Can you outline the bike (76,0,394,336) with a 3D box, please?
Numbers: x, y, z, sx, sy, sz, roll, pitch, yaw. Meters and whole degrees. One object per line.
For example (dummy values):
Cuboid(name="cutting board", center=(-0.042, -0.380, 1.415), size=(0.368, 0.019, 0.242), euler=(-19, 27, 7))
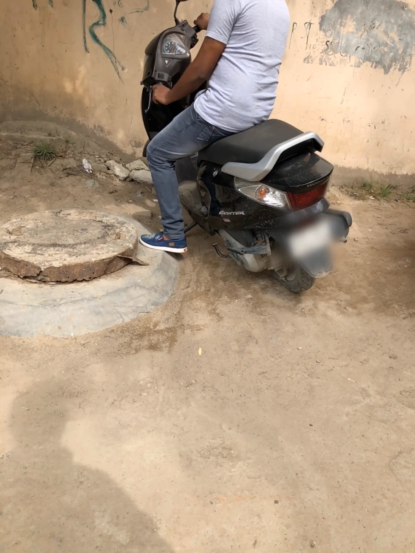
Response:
Cuboid(name="bike", center=(-0.058, -0.741, 2.452), size=(0.654, 1.228, 1.655), euler=(-13, 35, -32))
